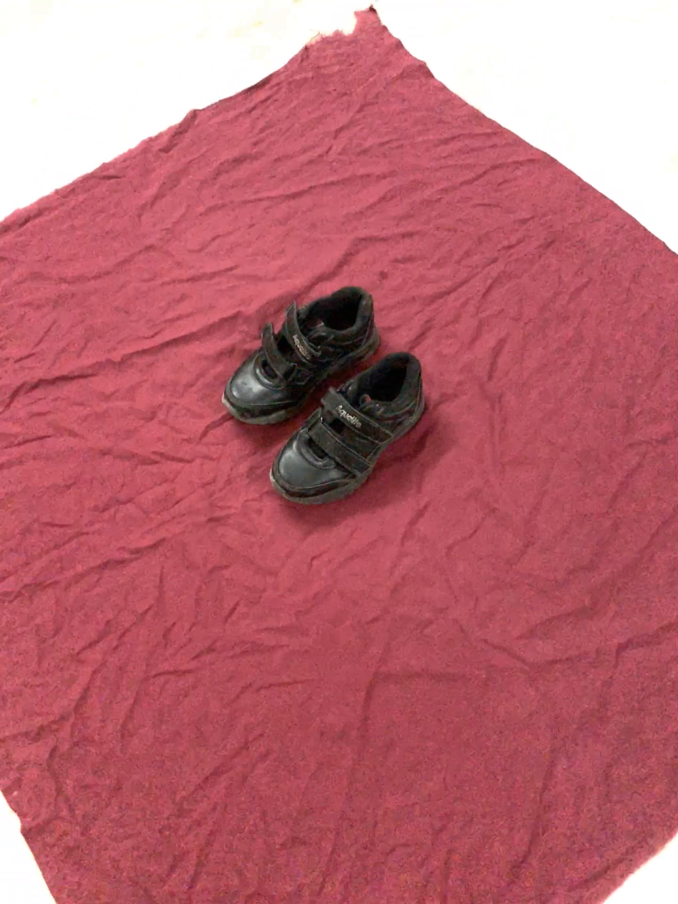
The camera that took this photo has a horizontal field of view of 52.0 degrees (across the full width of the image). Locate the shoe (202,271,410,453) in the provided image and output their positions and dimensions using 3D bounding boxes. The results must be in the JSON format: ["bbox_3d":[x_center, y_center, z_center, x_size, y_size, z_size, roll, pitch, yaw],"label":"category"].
[{"bbox_3d":[-0.031,-0.096,0.740,0.210,0.070,0.070,-34,68,-12],"label":"shoe"}]

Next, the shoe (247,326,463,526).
[{"bbox_3d":[0.019,-0.027,0.698,0.210,0.070,0.070,-37,69,-13],"label":"shoe"}]
